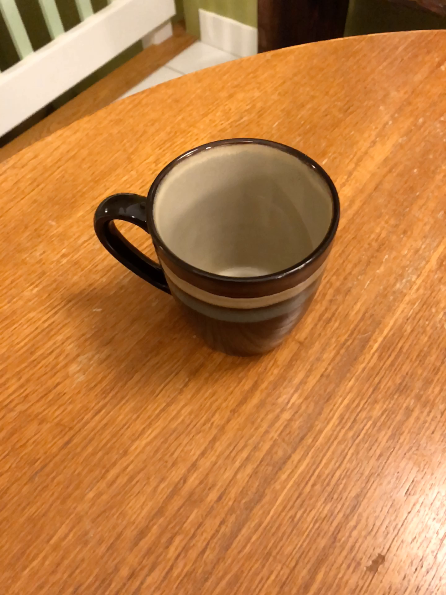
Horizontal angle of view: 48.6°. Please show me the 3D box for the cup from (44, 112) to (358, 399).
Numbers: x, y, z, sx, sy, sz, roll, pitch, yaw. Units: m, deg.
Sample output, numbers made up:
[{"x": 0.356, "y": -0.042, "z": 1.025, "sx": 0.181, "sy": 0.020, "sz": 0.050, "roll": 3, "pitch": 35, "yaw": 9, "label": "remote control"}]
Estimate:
[{"x": -0.005, "y": -0.023, "z": 0.277, "sx": 0.125, "sy": 0.094, "sz": 0.099, "roll": 15, "pitch": 59, "yaw": 12, "label": "cup"}]
